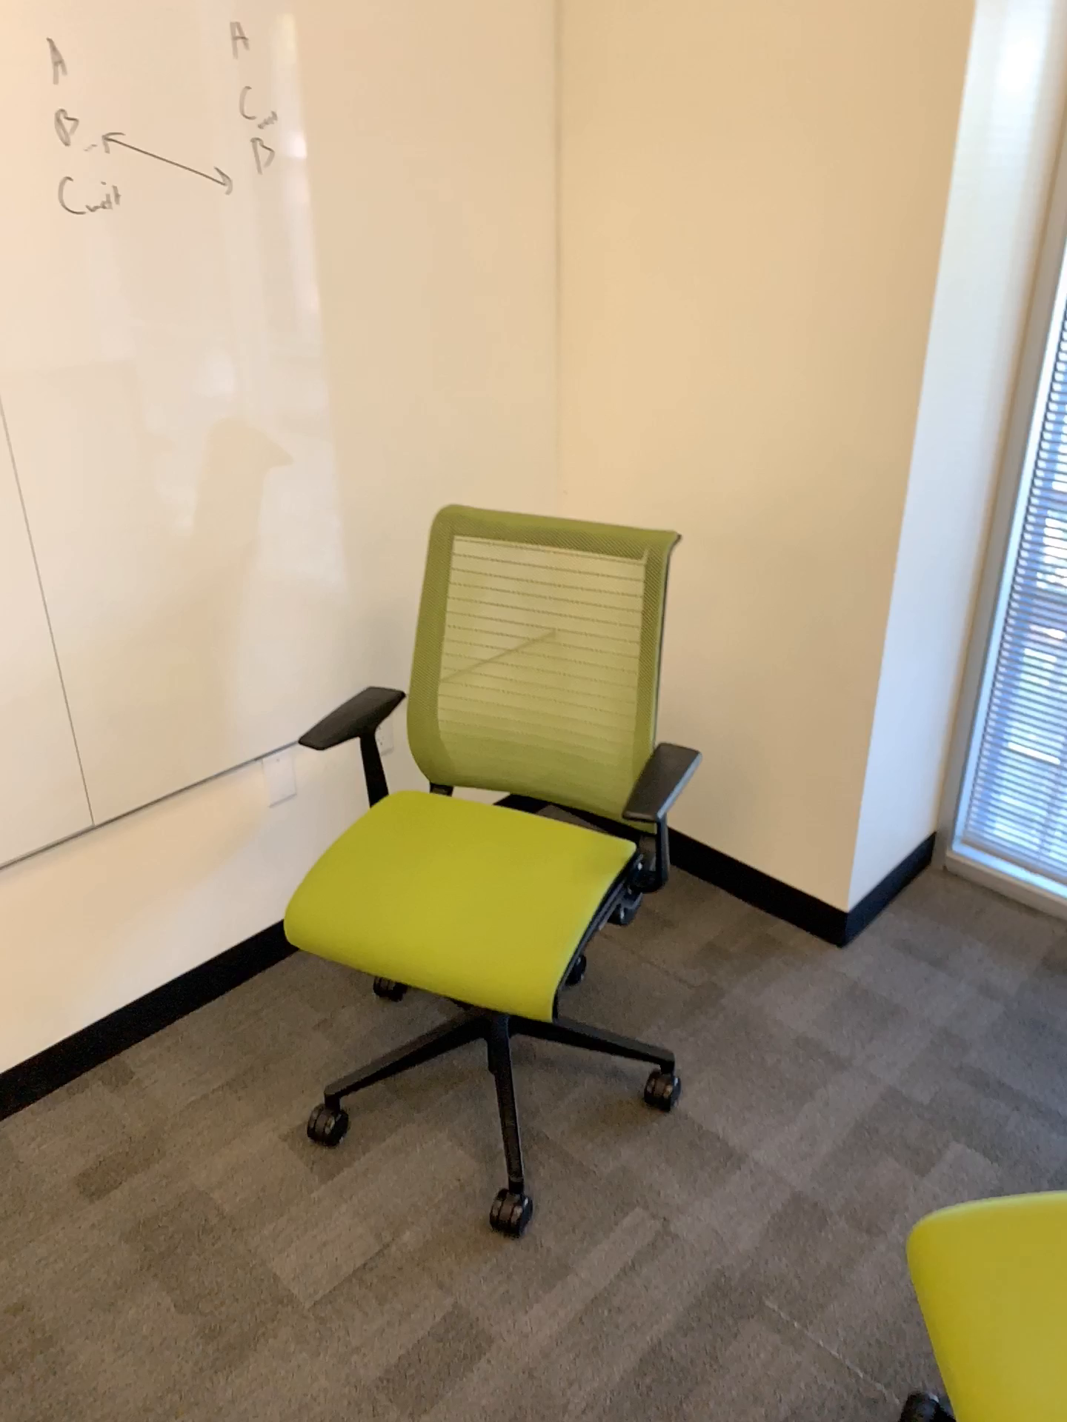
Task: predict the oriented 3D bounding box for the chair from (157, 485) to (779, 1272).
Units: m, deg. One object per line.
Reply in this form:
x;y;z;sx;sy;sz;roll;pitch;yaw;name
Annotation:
-0.044;0.218;2.015;0.701;0.994;0.843;12;29;23;chair
